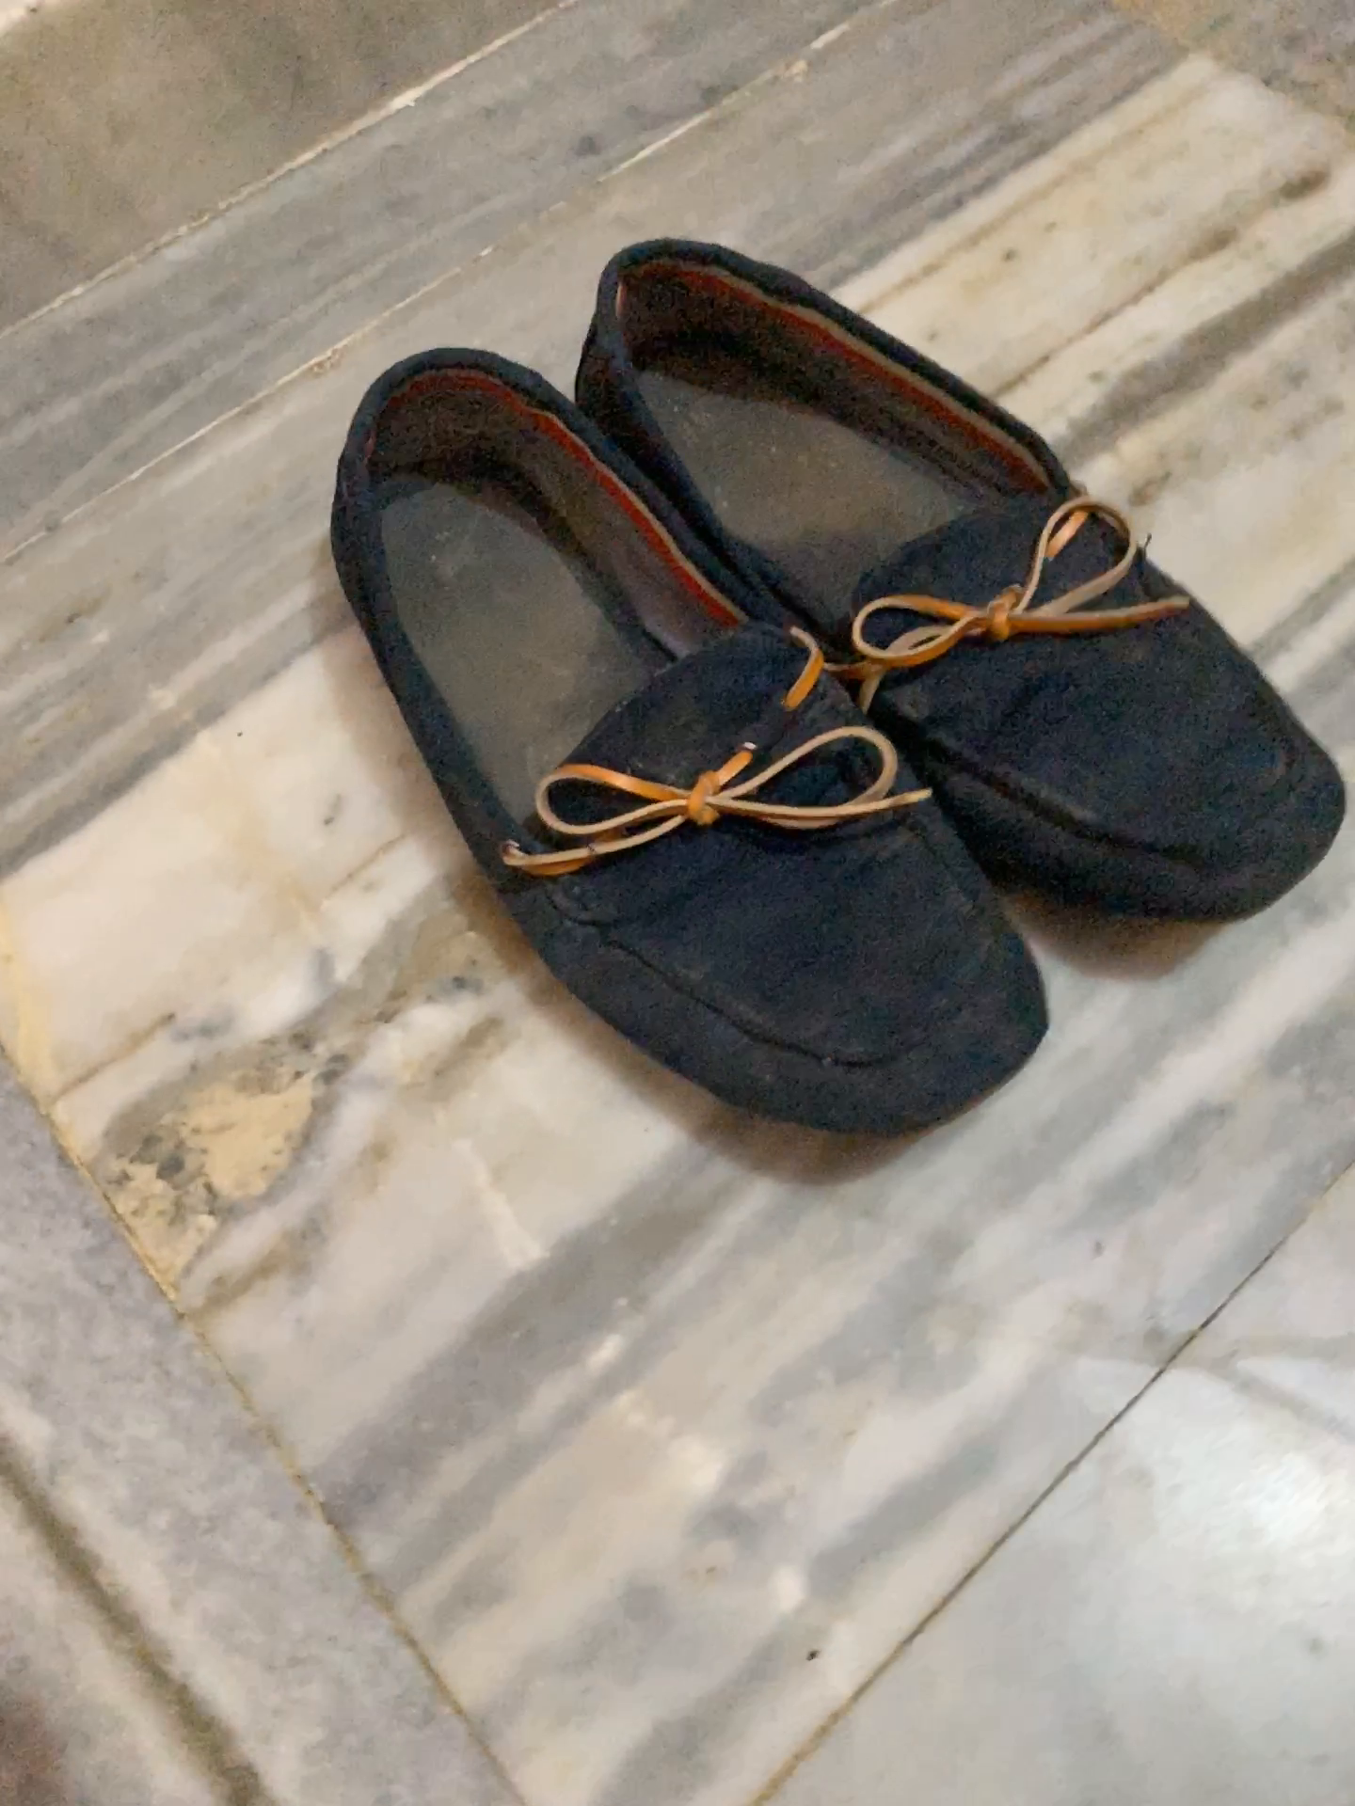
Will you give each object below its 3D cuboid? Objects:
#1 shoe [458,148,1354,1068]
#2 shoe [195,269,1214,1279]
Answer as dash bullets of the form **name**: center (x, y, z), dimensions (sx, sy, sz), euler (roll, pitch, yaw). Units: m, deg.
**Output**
- **shoe**: center (0.075, -0.105, 0.431), dimensions (0.120, 0.070, 0.300), euler (-38, 68, -15)
- **shoe**: center (-0.006, -0.050, 0.395), dimensions (0.120, 0.070, 0.280), euler (-35, 67, -14)
